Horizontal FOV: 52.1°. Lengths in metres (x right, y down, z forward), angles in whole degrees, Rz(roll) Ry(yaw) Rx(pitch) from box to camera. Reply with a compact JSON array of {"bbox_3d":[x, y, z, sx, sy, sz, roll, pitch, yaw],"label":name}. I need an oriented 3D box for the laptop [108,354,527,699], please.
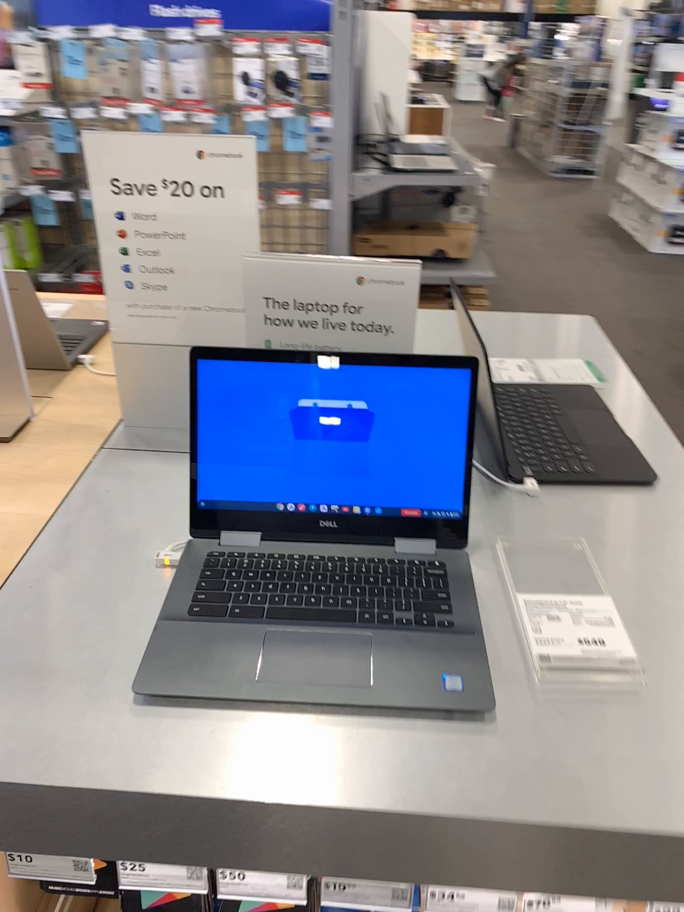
[{"bbox_3d":[-0.012,0.049,0.694,0.309,0.202,0.294,2,29,3],"label":"laptop"}]
